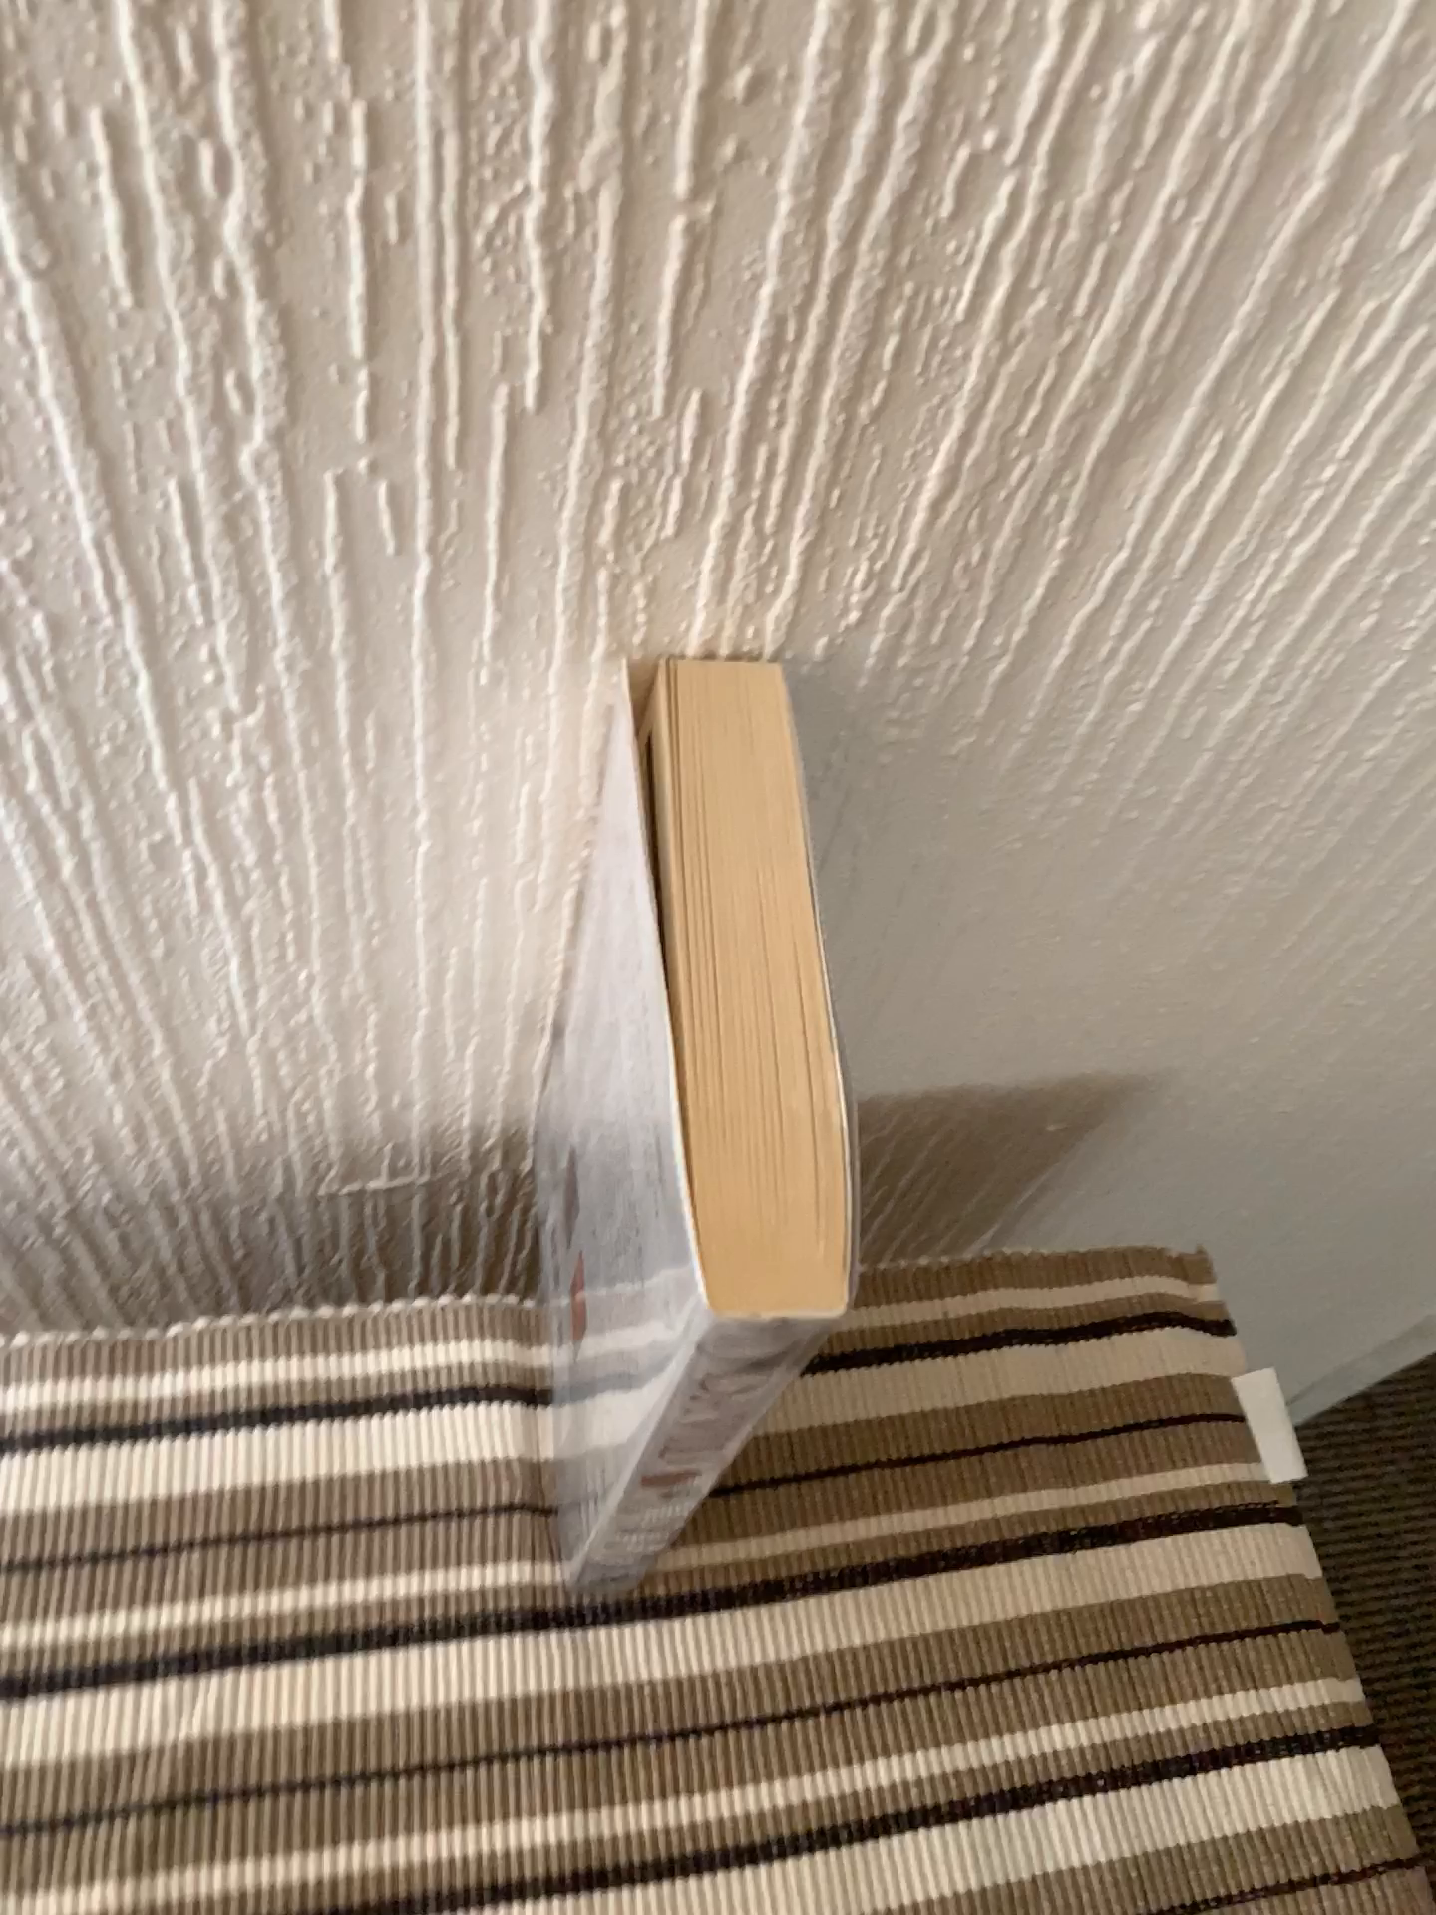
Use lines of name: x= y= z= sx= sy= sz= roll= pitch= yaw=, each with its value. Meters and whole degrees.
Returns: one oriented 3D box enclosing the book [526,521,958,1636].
book: x=-0.014 y=0.045 z=0.338 sx=0.040 sy=0.218 sz=0.171 roll=1 pitch=58 yaw=-12
